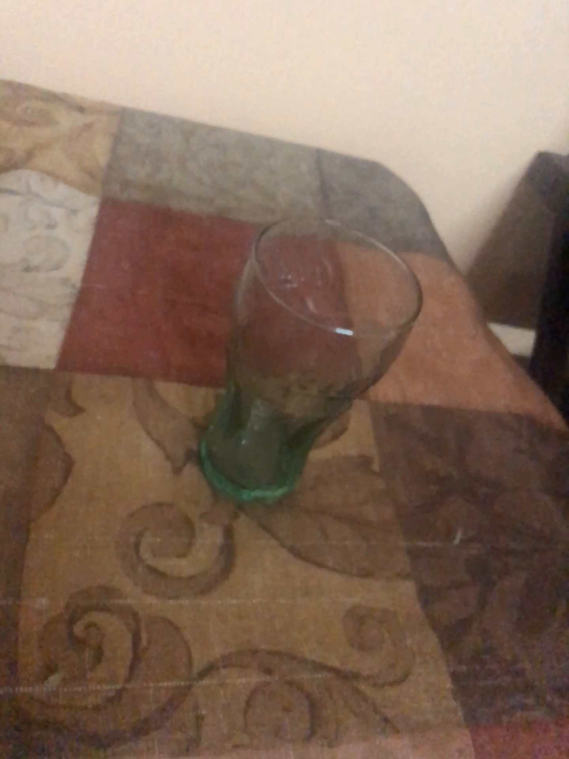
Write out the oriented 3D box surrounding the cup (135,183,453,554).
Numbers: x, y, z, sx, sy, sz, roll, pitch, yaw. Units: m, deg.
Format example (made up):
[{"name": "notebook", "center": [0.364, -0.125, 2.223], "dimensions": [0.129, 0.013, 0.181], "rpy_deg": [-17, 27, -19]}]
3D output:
[{"name": "cup", "center": [-0.001, -0.003, 0.255], "dimensions": [0.070, 0.110, 0.070], "rpy_deg": [13, 43, -12]}]
